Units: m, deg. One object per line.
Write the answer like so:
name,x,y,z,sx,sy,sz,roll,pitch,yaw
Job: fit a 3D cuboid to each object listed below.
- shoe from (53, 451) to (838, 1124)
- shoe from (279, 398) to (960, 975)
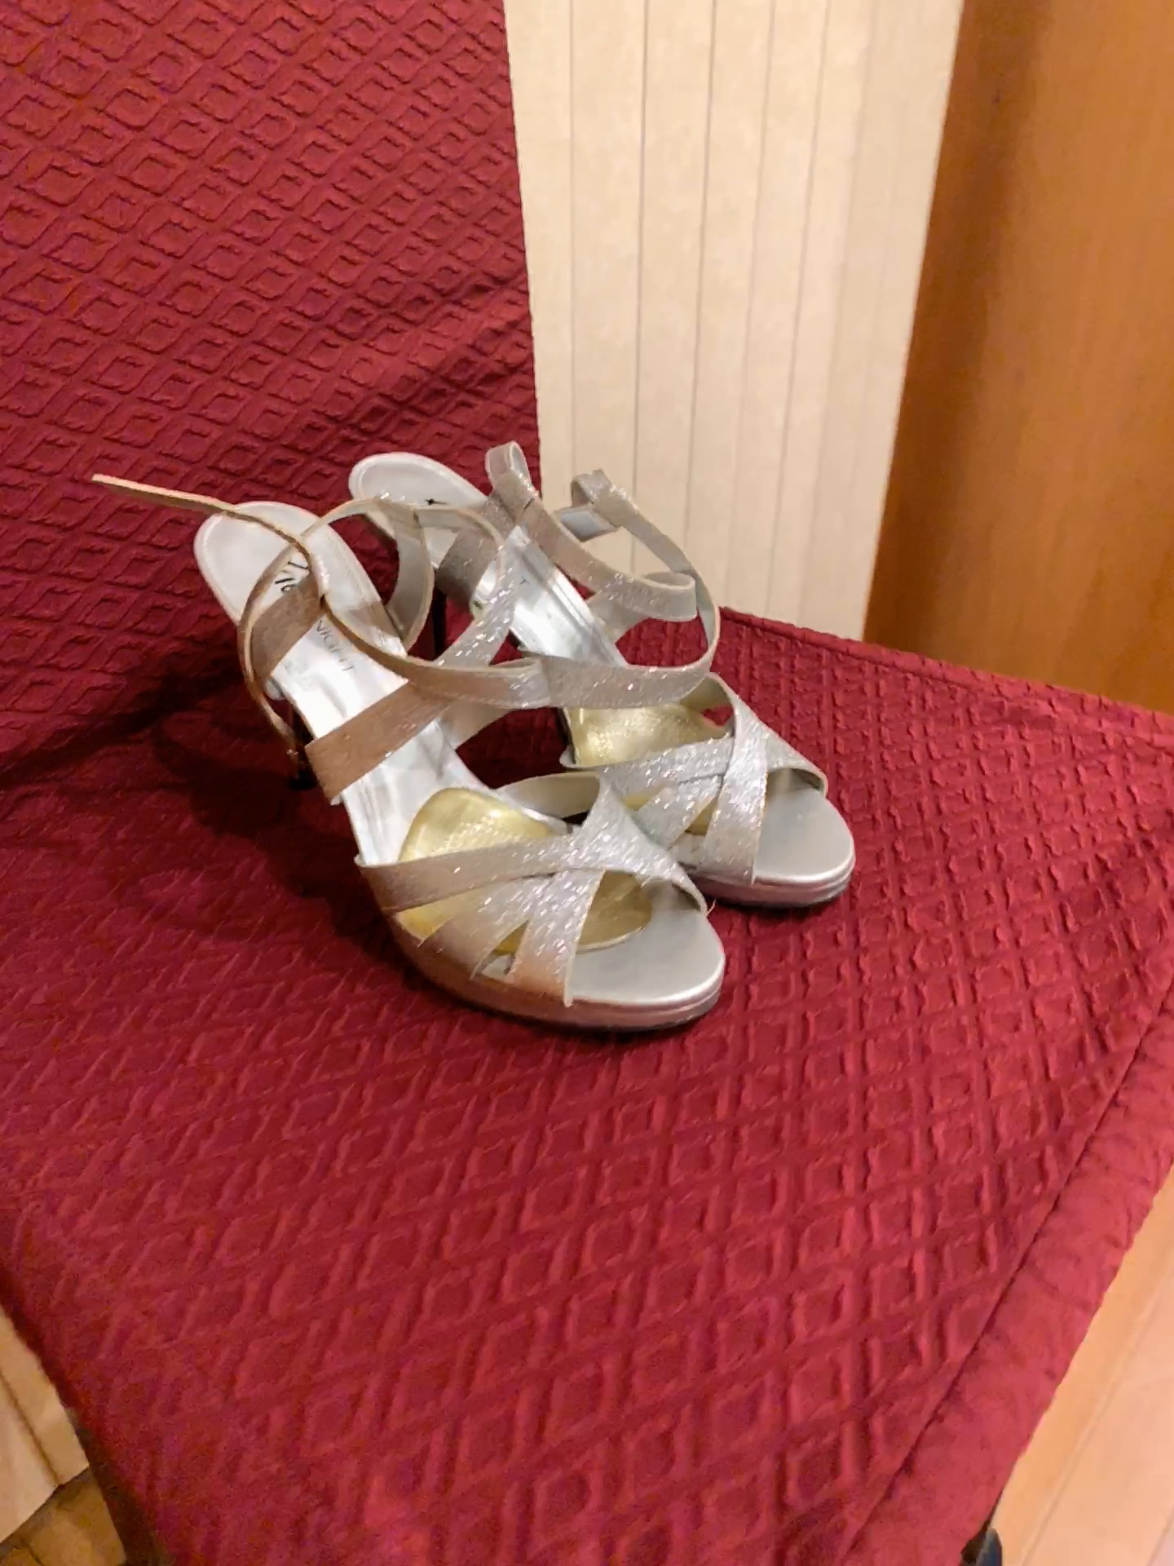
shoe,-0.050,-0.013,0.404,0.231,0.119,0.100,23,42,28
shoe,0.004,-0.049,0.453,0.221,0.119,0.100,25,43,30
